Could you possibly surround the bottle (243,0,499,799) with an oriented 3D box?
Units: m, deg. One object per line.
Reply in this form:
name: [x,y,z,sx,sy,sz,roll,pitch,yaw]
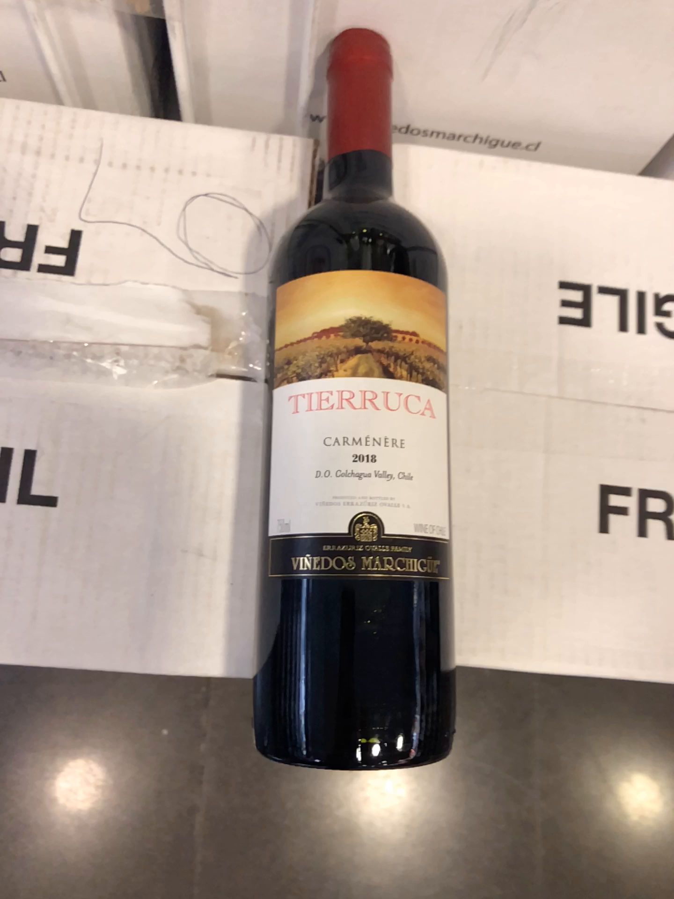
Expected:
bottle: [0.012,-0.041,0.303,0.080,0.080,0.320,3,79,-6]
